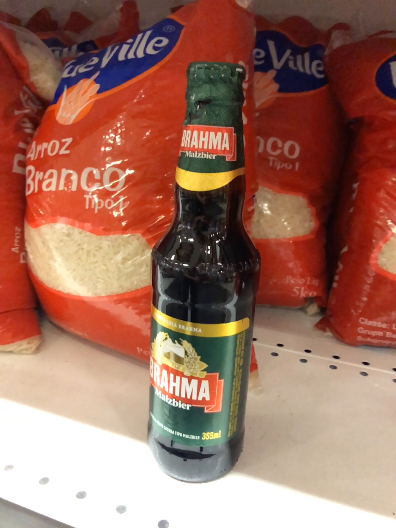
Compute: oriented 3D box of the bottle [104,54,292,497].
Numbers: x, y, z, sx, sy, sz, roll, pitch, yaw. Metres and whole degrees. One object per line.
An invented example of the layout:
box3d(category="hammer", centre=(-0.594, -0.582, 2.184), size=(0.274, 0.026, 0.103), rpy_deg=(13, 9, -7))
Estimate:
box3d(category="bottle", centre=(-0.001, 0.011, 0.249), size=(0.070, 0.228, 0.060), rpy_deg=(11, 23, 21))
